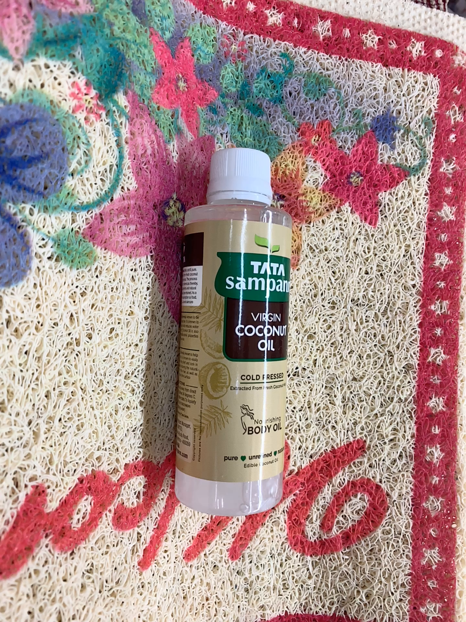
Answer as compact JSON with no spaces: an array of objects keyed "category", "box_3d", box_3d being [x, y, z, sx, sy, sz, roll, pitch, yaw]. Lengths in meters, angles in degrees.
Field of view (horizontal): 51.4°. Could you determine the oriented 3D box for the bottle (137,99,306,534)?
[{"category":"bottle","box_3d":[-0.003,0.002,0.184,0.050,0.030,0.140,2,91,-43]}]
